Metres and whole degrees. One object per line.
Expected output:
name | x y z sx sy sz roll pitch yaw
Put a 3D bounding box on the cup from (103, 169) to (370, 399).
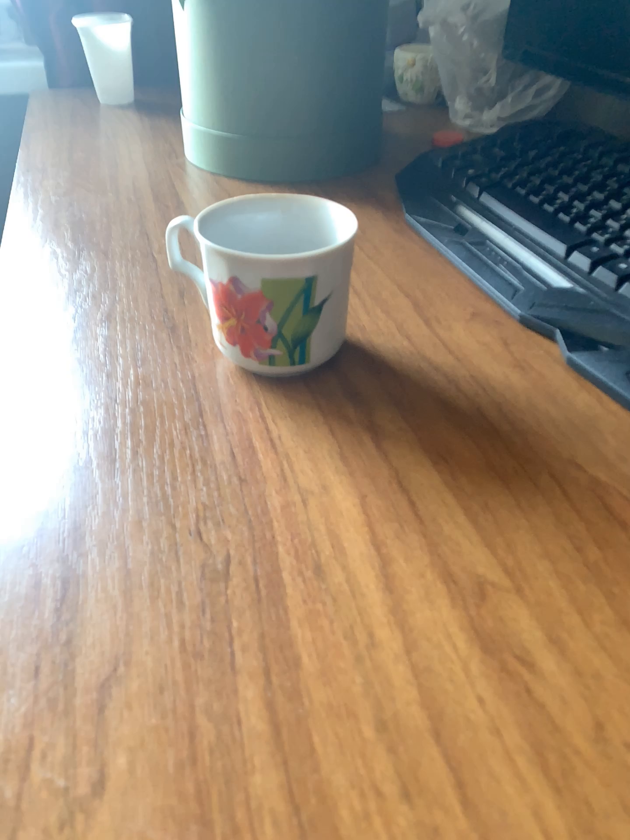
cup | -0.036 -0.074 0.338 0.110 0.080 0.070 12 39 14
